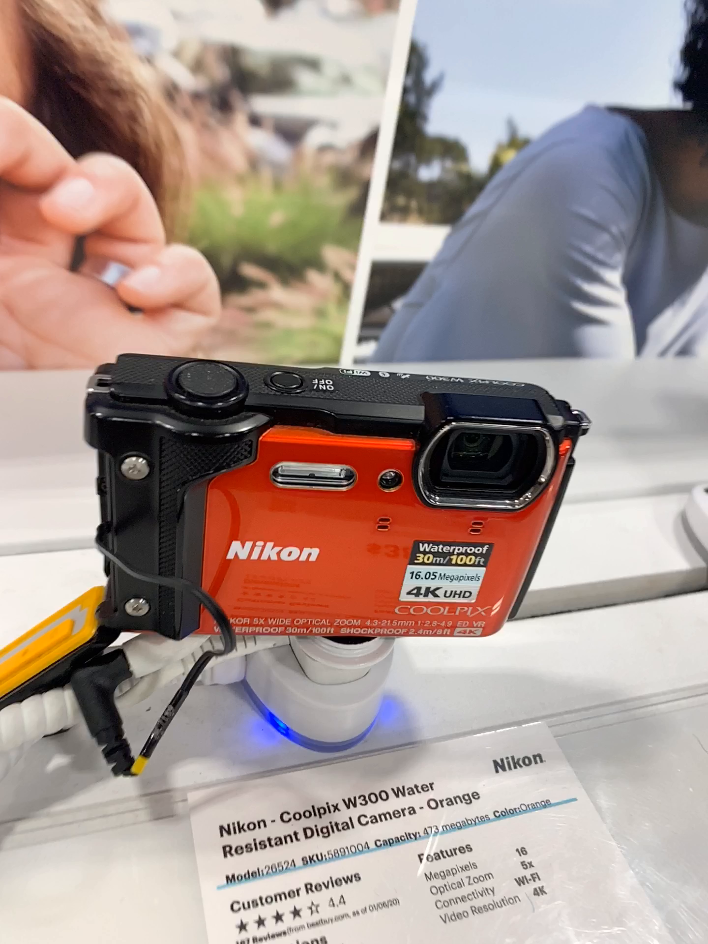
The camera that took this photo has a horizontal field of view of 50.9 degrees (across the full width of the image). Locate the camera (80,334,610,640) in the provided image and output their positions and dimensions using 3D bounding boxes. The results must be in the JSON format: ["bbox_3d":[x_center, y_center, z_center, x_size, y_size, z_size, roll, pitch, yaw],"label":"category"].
[{"bbox_3d":[-0.004,0.006,0.171,0.105,0.063,0.025,2,35,-13],"label":"camera"}]
